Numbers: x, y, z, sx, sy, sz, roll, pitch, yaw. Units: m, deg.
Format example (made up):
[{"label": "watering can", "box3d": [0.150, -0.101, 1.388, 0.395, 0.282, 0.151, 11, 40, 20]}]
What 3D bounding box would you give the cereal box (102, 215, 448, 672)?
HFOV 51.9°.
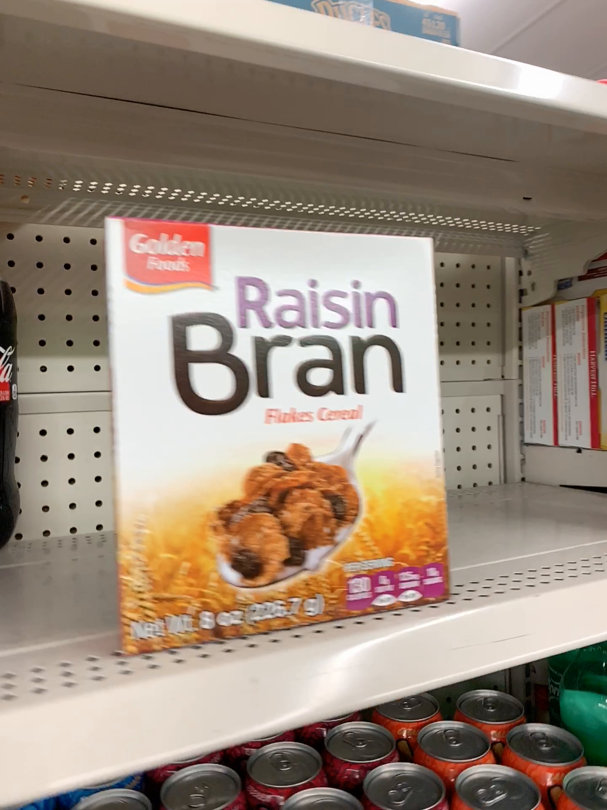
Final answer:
[{"label": "cereal box", "box3d": [-0.015, 0.015, 0.371, 0.190, 0.230, 0.050, -2, -1, -20]}]
